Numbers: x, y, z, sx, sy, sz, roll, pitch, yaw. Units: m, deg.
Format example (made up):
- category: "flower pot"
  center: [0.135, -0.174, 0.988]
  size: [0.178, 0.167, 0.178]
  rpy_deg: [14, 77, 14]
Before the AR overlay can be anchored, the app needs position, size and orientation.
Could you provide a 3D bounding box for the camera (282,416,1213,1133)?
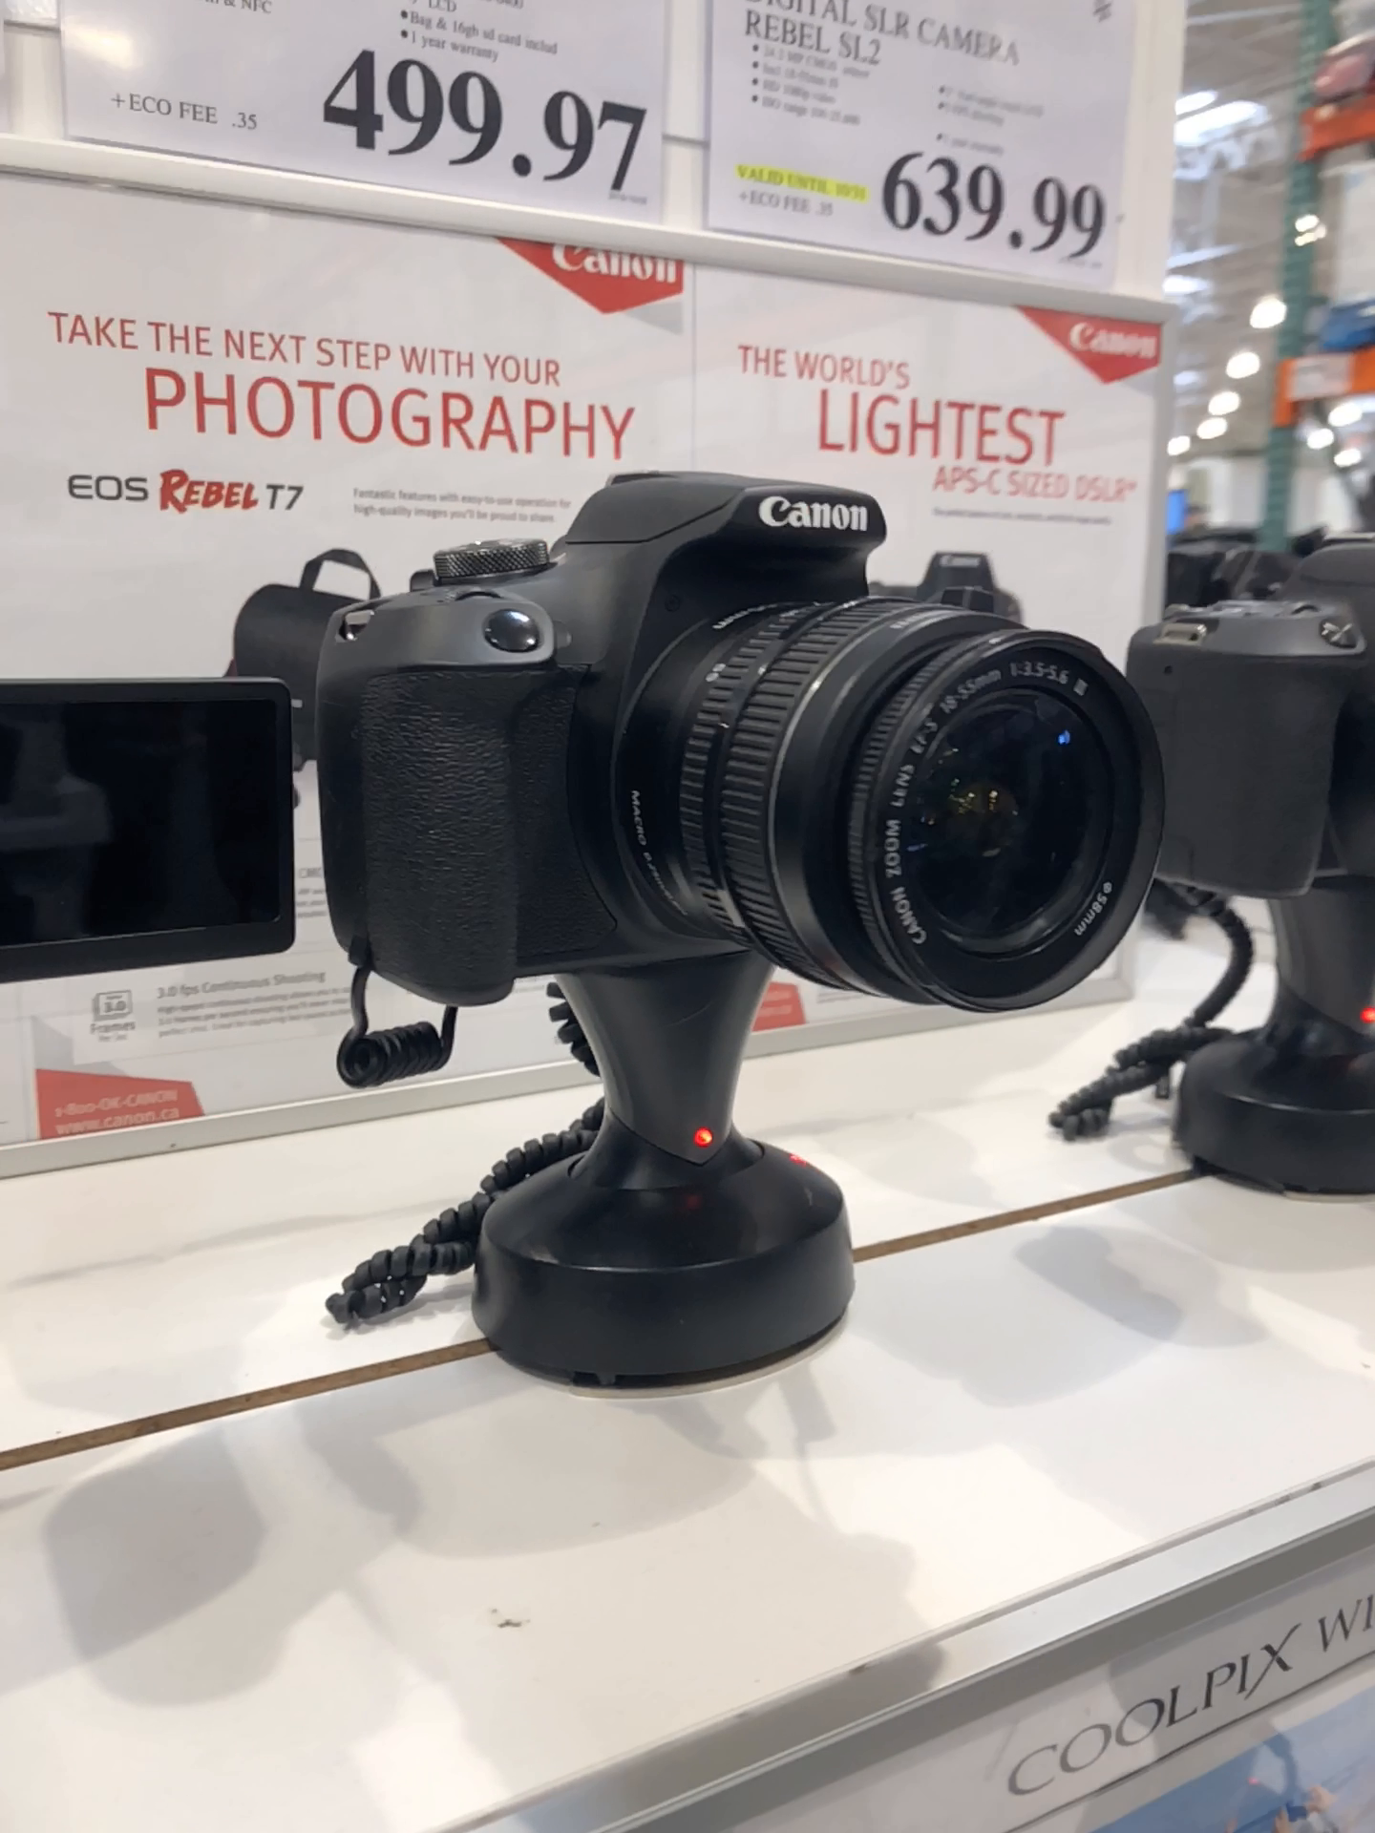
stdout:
- category: "camera"
  center: [0.005, -0.035, 0.295]
  size: [0.130, 0.100, 0.120]
  rpy_deg: [-6, 14, -30]
